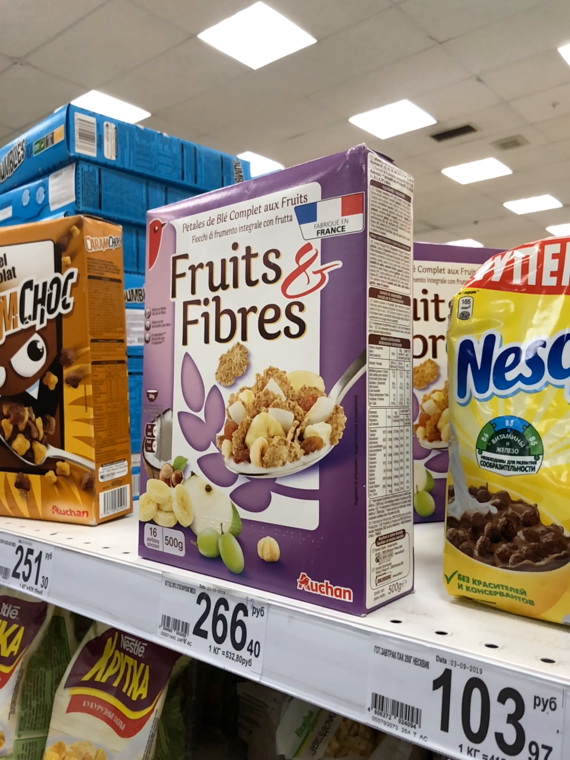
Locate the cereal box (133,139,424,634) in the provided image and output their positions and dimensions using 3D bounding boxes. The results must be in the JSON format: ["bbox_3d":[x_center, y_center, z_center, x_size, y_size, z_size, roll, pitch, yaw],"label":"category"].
[{"bbox_3d":[-0.013,0.003,0.419,0.200,0.260,0.060,-2,-3,40],"label":"cereal box"}]
